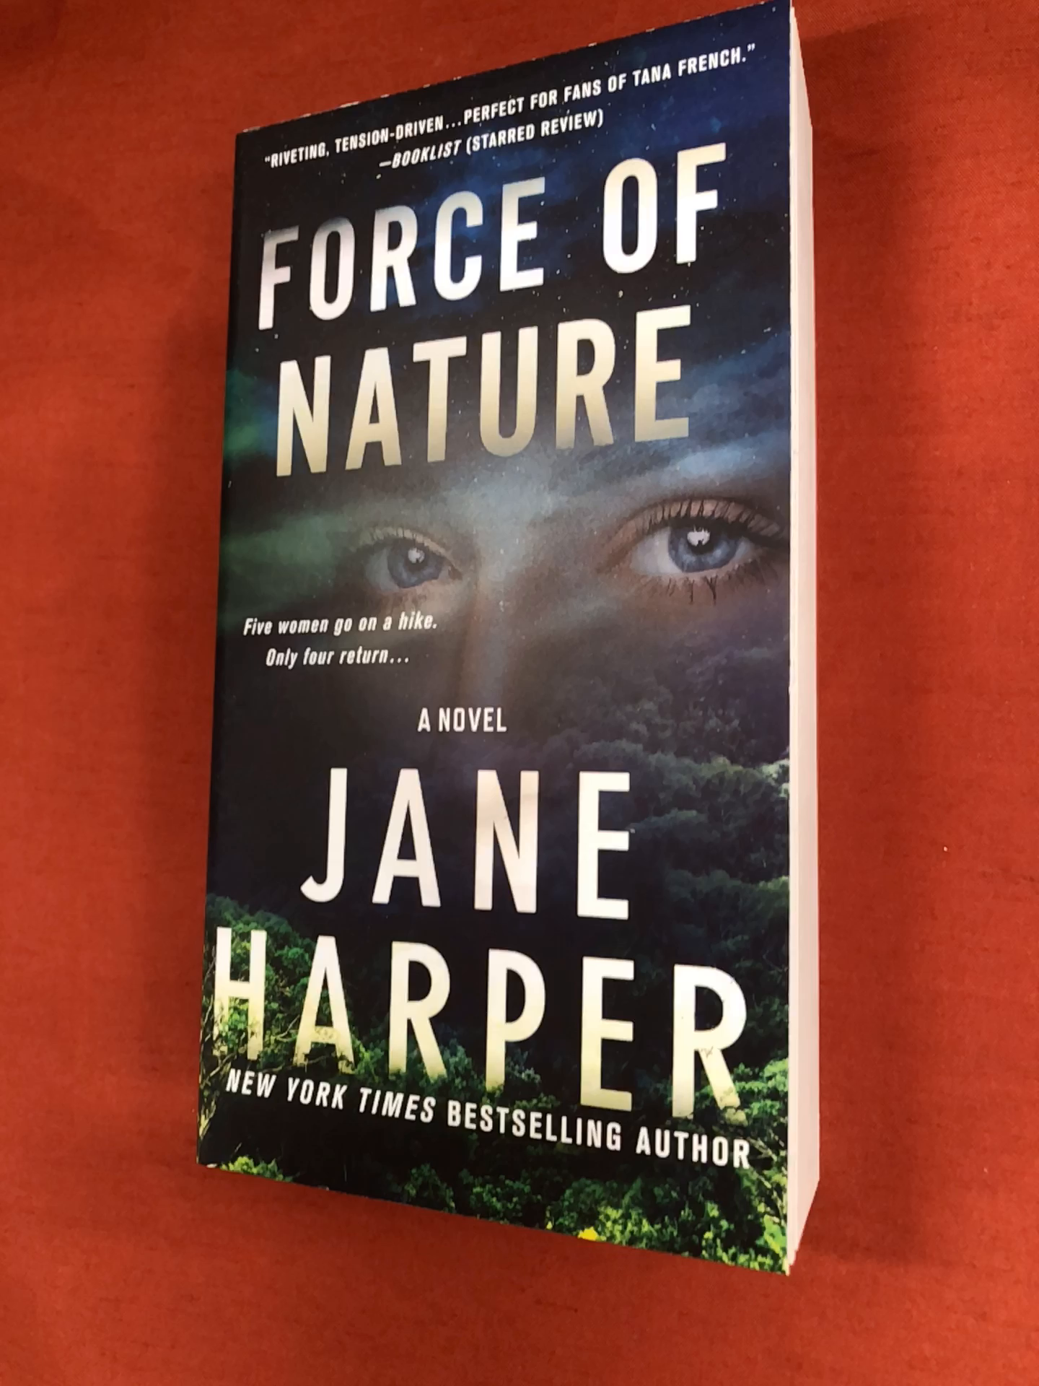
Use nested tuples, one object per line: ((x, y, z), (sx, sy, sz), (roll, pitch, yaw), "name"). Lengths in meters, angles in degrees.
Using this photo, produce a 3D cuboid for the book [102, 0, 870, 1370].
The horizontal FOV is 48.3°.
((-0.004, -0.003, 0.192), (0.110, 0.050, 0.180), (-1, 91, 23), "book")
